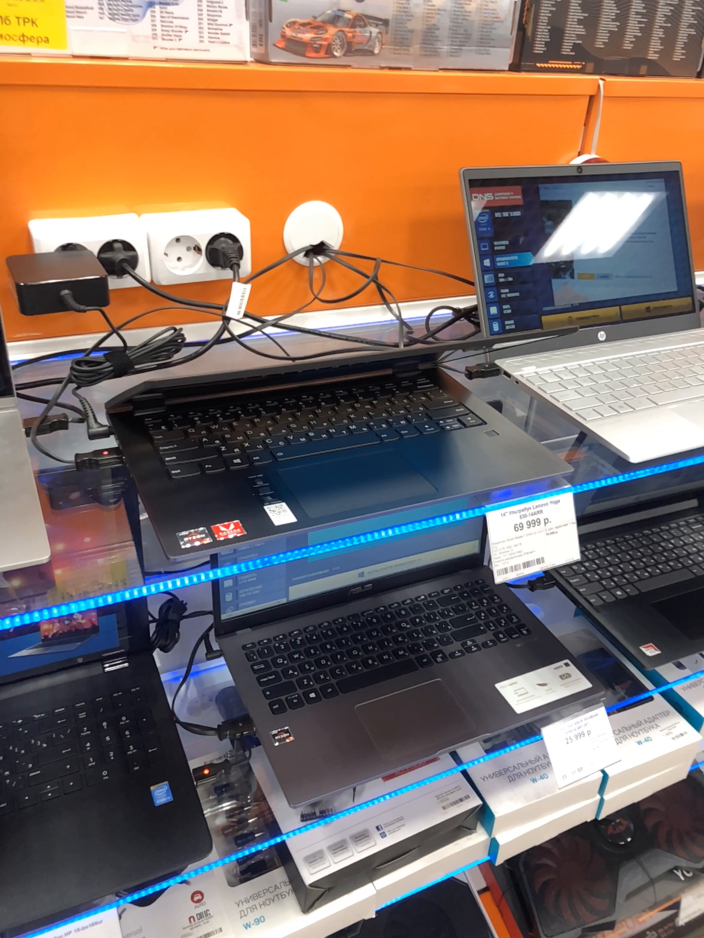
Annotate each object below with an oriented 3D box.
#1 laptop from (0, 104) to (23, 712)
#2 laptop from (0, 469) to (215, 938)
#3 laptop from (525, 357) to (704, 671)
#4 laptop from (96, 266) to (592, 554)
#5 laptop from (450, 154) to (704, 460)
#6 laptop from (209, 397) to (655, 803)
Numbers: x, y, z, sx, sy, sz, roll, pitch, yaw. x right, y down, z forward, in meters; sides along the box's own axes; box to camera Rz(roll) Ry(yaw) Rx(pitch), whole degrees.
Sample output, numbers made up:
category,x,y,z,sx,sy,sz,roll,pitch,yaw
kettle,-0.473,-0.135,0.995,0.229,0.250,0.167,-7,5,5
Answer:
category,x,y,z,sx,sy,sz,roll,pitch,yaw
laptop,-0.391,-0.077,0.471,0.311,0.219,0.268,-10,33,-24
laptop,-0.337,0.190,0.621,0.374,0.223,0.266,-10,34,-25
laptop,0.446,0.034,0.965,0.344,0.229,0.254,-10,32,-21
laptop,-0.015,-0.070,0.621,0.324,0.102,0.214,-11,34,-23
laptop,0.310,-0.189,0.783,0.283,0.162,0.318,-12,36,-21
laptop,0.062,0.110,0.814,0.354,0.236,0.257,-11,33,-22
